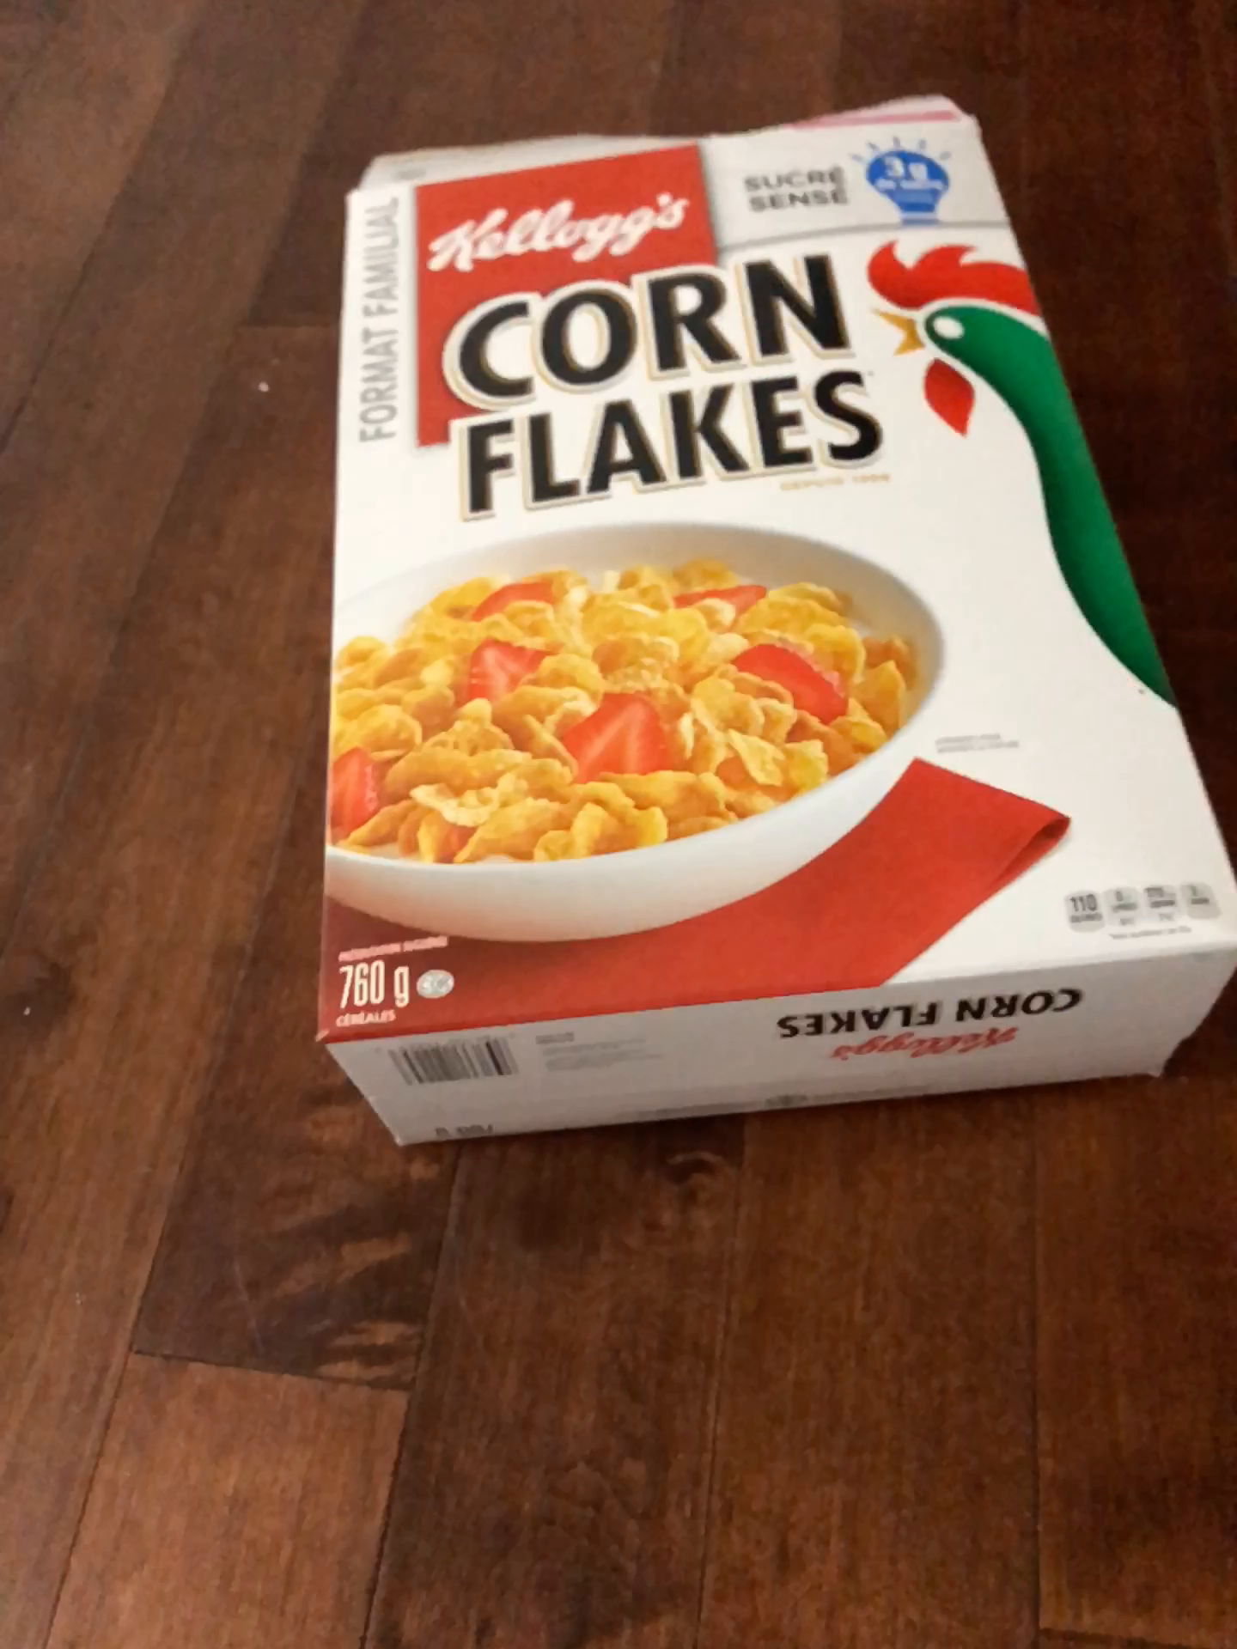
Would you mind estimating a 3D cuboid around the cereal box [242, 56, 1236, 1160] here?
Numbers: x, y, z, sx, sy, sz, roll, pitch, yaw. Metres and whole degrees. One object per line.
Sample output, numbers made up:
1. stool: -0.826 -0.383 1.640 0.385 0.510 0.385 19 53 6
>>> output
1. cereal box: 0.022 -0.095 0.483 0.260 0.090 0.381 -6 61 2
